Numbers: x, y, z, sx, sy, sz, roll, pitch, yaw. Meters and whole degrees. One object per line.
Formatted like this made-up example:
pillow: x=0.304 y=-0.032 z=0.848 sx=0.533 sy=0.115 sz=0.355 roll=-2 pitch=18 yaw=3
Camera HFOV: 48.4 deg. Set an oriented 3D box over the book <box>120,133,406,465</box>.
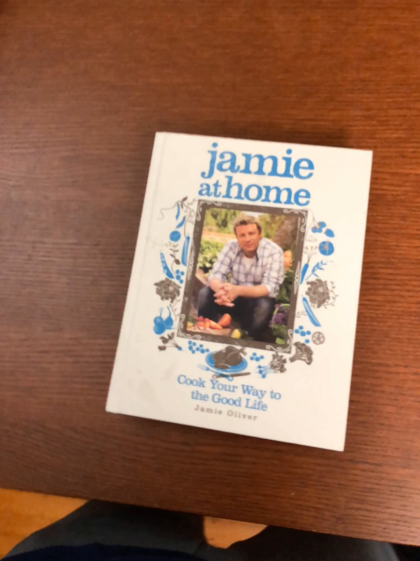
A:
book: x=0.050 y=0.005 z=0.419 sx=0.210 sy=0.040 sz=0.260 roll=8 pitch=79 yaw=9
